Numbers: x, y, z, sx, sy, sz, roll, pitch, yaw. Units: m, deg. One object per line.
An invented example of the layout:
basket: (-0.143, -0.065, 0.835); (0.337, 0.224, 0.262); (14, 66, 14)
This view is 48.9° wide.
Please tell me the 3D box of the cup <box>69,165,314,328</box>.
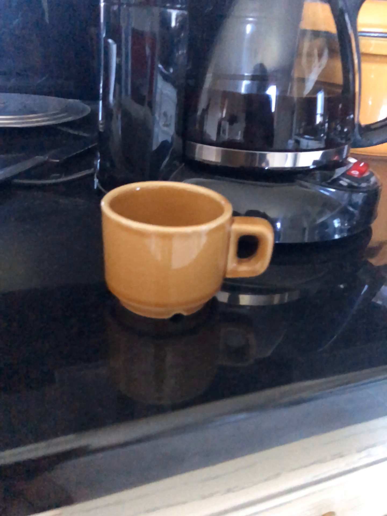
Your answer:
cup: (-0.001, -0.009, 0.216); (0.100, 0.050, 0.070); (3, 29, 0)
